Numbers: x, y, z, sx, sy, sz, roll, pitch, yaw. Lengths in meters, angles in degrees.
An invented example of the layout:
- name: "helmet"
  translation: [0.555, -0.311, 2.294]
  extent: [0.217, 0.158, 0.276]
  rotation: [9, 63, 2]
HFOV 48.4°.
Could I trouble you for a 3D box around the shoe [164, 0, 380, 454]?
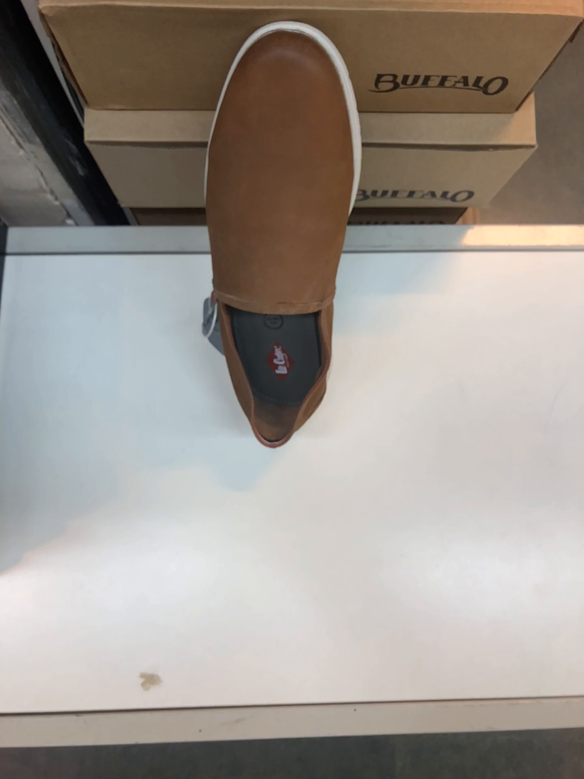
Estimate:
- name: "shoe"
  translation: [-0.010, -0.120, 0.493]
  extent: [0.113, 0.310, 0.149]
  rotation: [6, 39, 3]
